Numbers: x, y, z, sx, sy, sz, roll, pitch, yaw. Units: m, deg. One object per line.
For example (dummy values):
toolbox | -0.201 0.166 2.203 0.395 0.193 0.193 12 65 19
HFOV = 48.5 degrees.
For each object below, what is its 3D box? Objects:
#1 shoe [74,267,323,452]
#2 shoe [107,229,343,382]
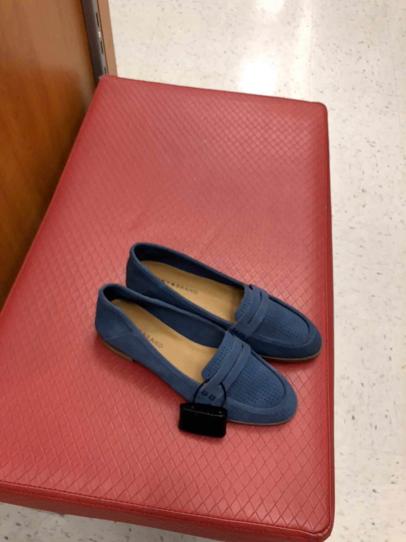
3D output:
shoe | -0.008 0.095 0.505 0.254 0.069 0.082 24 59 13
shoe | 0.024 0.040 0.547 0.258 0.069 0.085 18 58 9
